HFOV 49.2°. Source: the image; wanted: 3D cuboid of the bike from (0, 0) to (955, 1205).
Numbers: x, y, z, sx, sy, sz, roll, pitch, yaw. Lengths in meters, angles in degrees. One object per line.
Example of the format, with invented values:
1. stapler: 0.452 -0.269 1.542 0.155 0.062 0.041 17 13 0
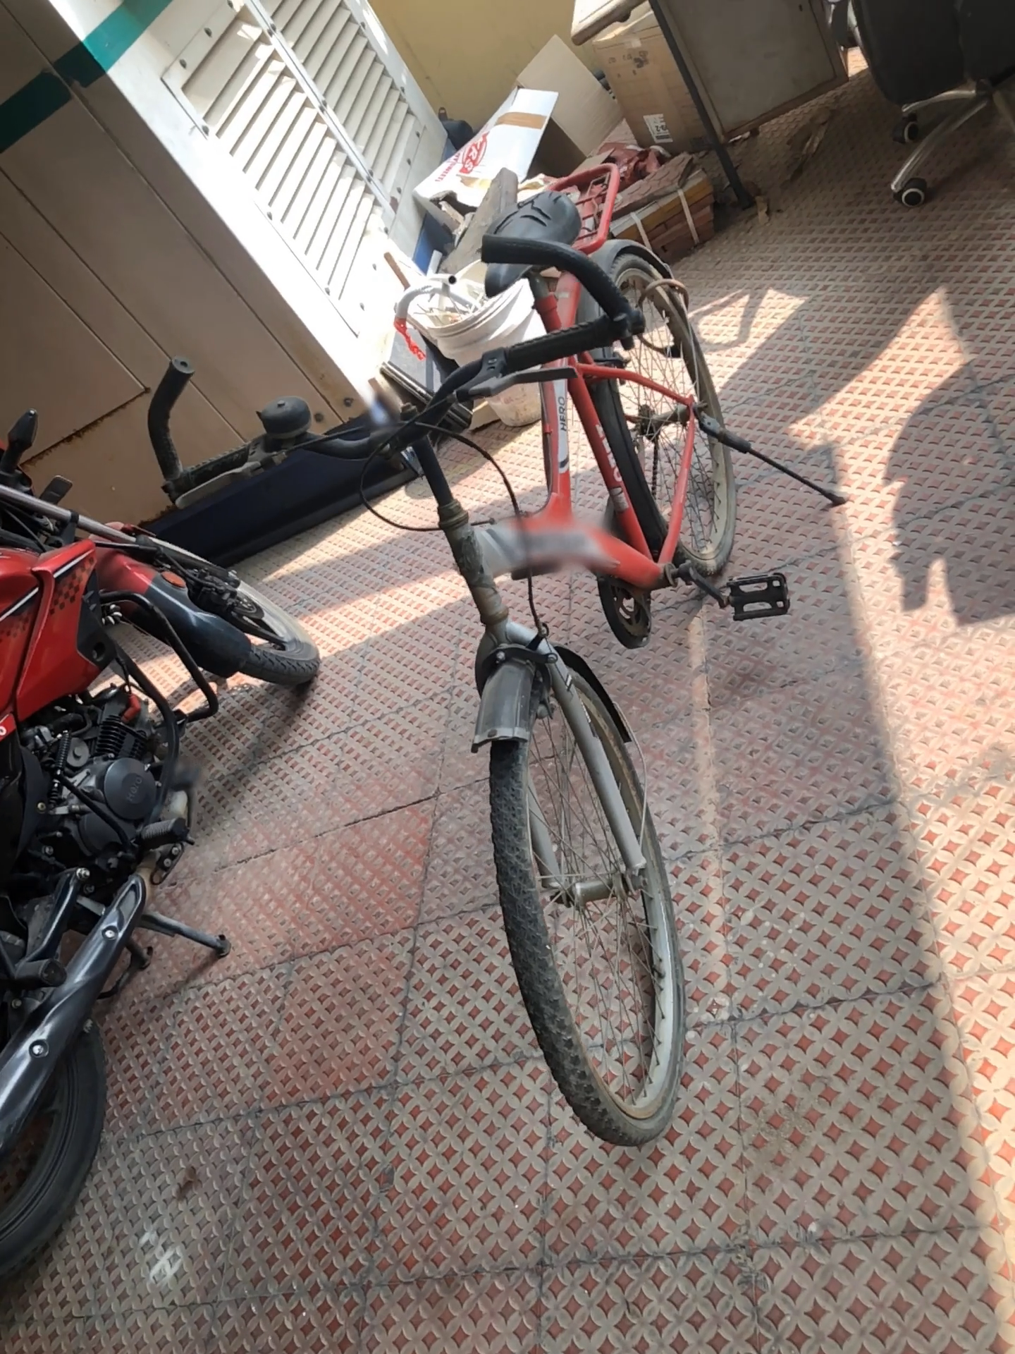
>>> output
1. bike: 0.143 -0.239 1.623 0.576 0.963 1.616 -16 42 29
